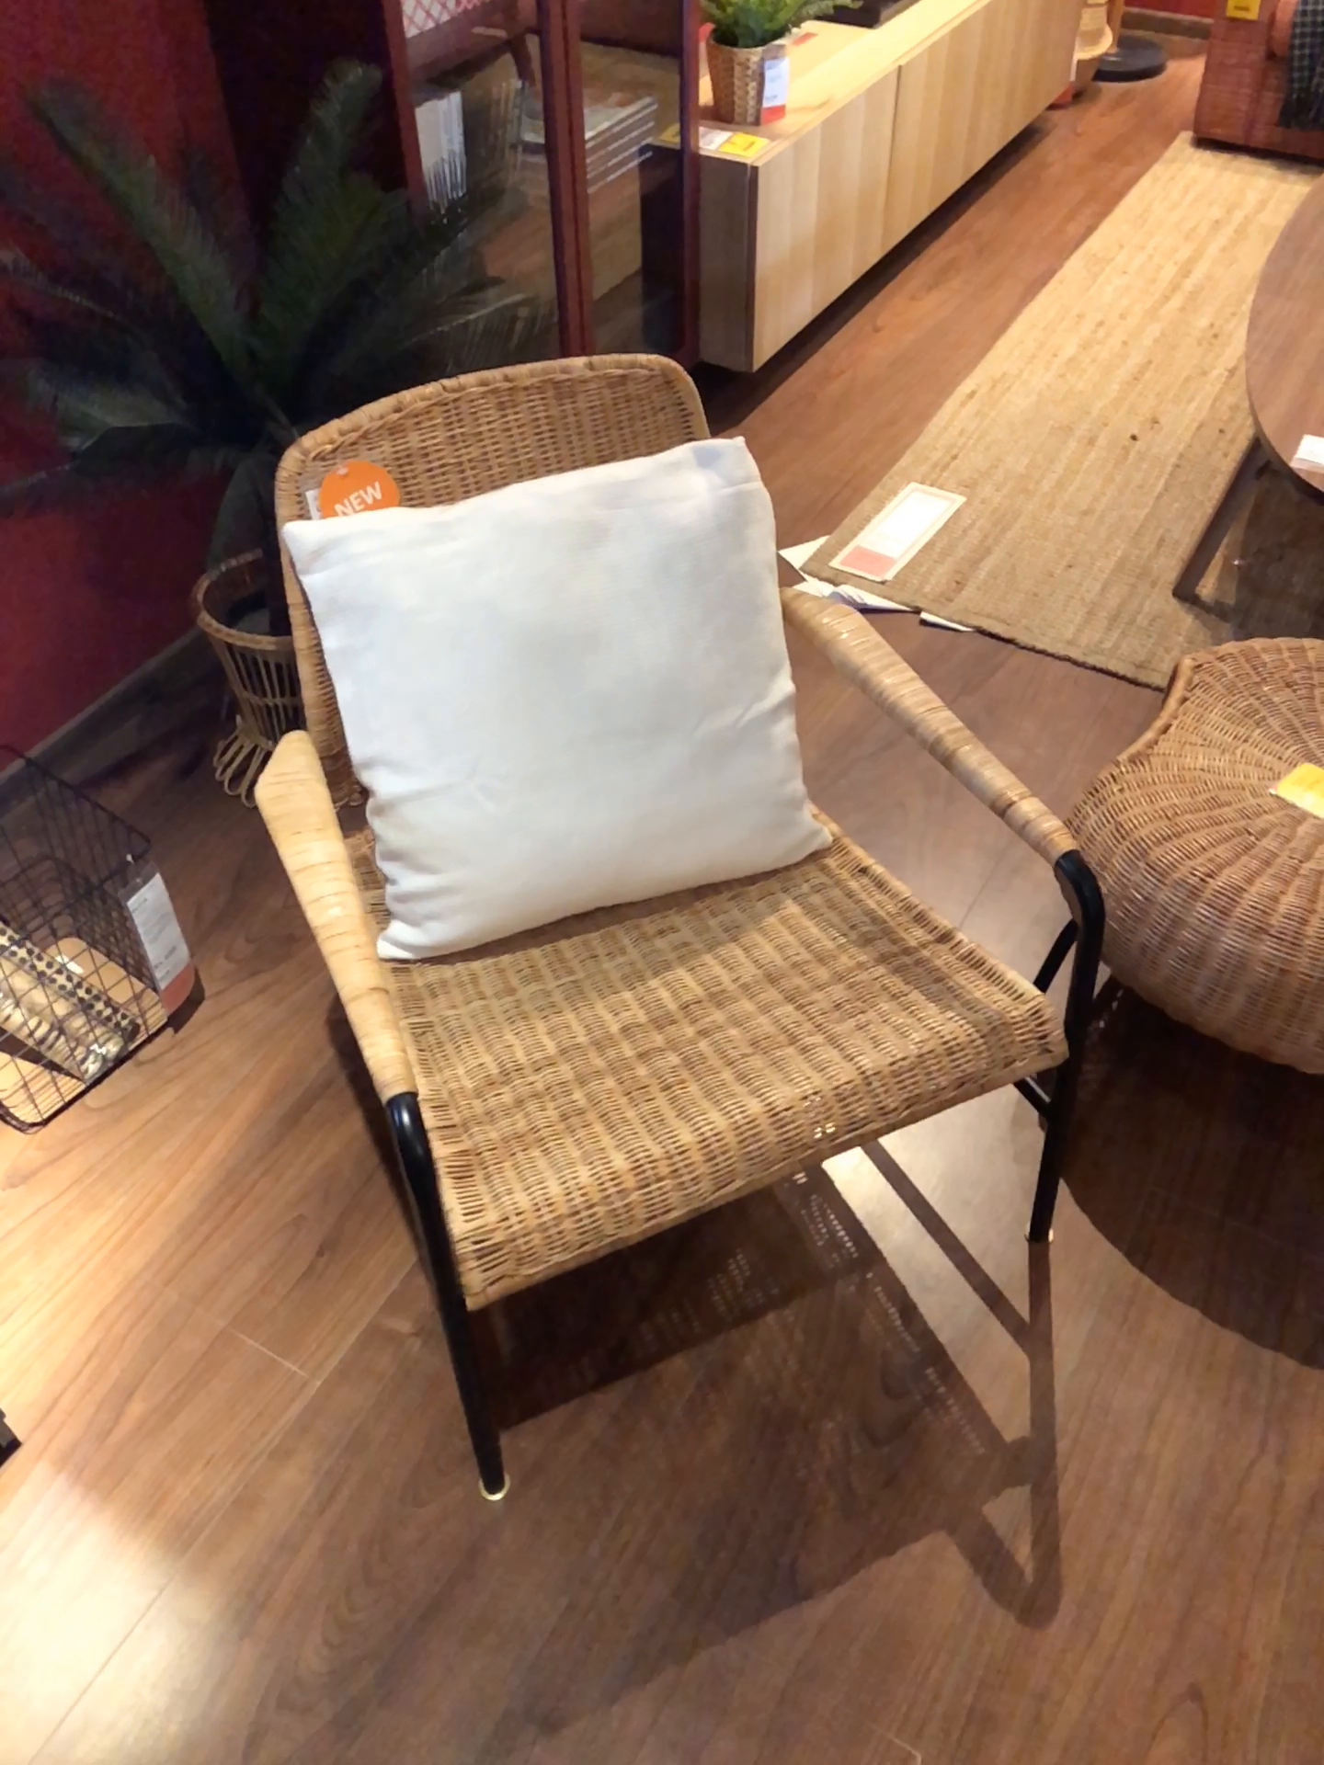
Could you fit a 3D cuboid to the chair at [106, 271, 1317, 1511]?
[{"bbox_3d":[-0.003,-0.019,1.327,0.671,0.705,0.663,-20,48,-17],"label":"chair"}]
